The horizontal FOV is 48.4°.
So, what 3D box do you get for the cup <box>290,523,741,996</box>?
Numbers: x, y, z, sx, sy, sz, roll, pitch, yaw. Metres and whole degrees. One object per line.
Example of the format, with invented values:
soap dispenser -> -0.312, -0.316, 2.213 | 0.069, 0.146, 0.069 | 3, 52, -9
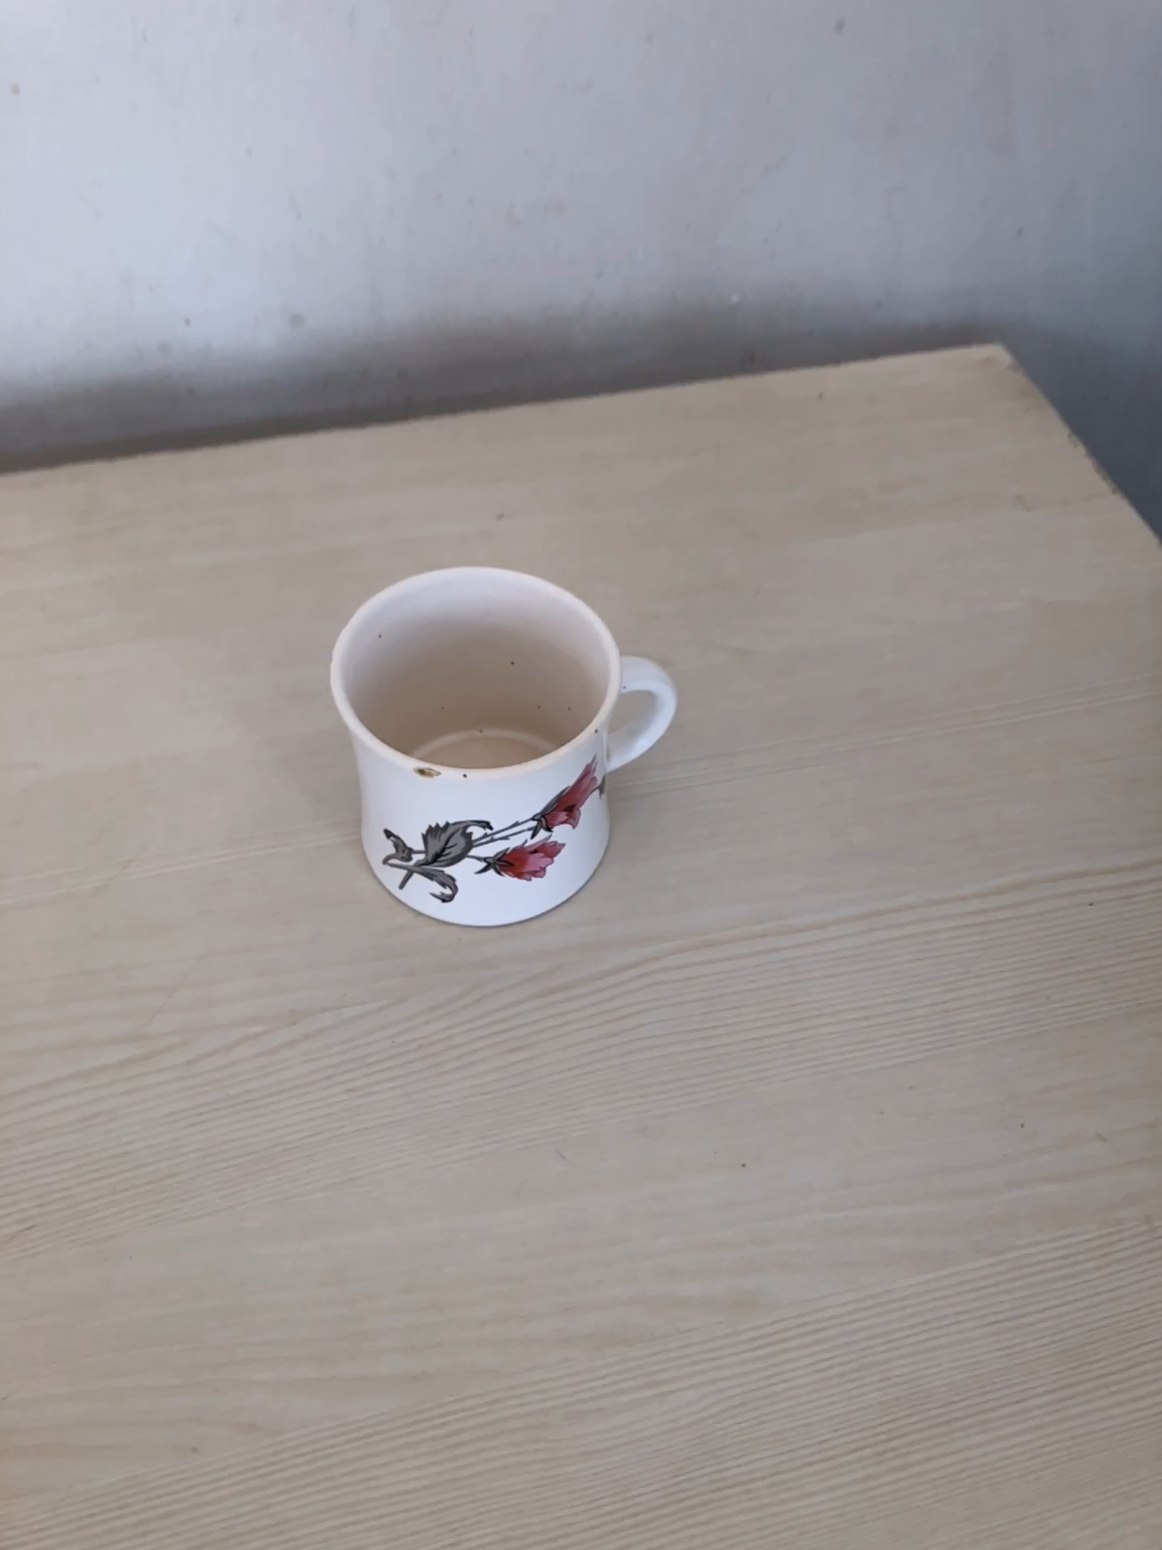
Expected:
cup -> -0.019, -0.005, 0.339 | 0.090, 0.070, 0.080 | -14, 51, -12
